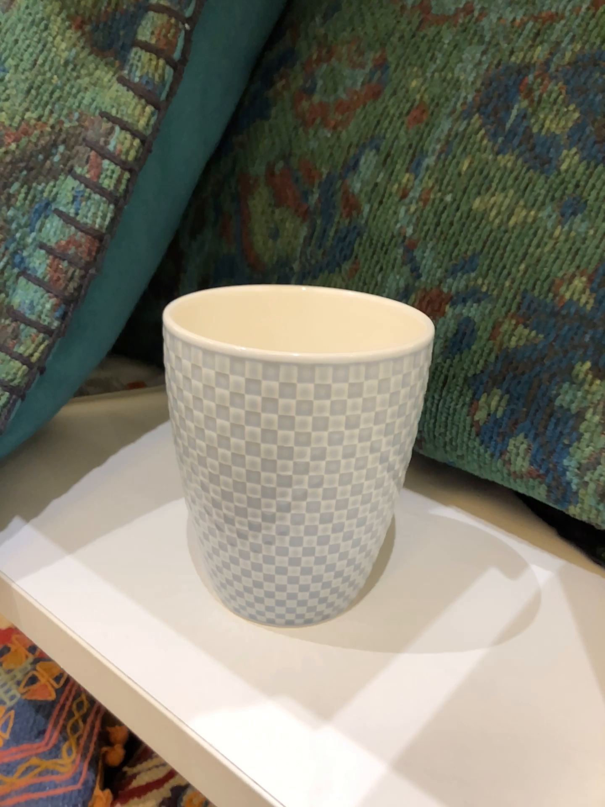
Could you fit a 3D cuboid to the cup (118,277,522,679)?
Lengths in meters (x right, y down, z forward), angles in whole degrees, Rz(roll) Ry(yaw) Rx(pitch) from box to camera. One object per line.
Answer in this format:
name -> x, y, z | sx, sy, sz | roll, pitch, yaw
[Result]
cup -> -0.004, 0.011, 0.218 | 0.090, 0.079, 0.101 | -6, 23, -20
